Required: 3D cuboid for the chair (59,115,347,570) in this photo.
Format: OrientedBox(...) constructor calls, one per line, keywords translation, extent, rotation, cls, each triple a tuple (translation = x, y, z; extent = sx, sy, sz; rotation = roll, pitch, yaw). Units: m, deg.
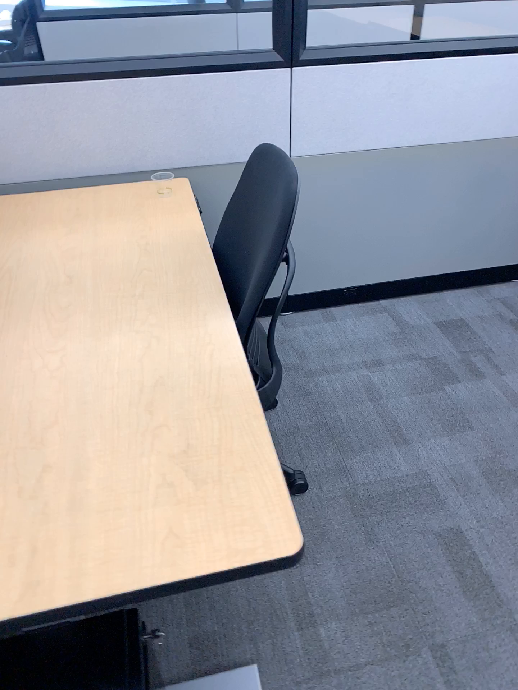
OrientedBox(translation=(-0.165, -0.013, 1.478), extent=(0.510, 0.994, 0.674), rotation=(-11, 38, -12), cls="chair")
